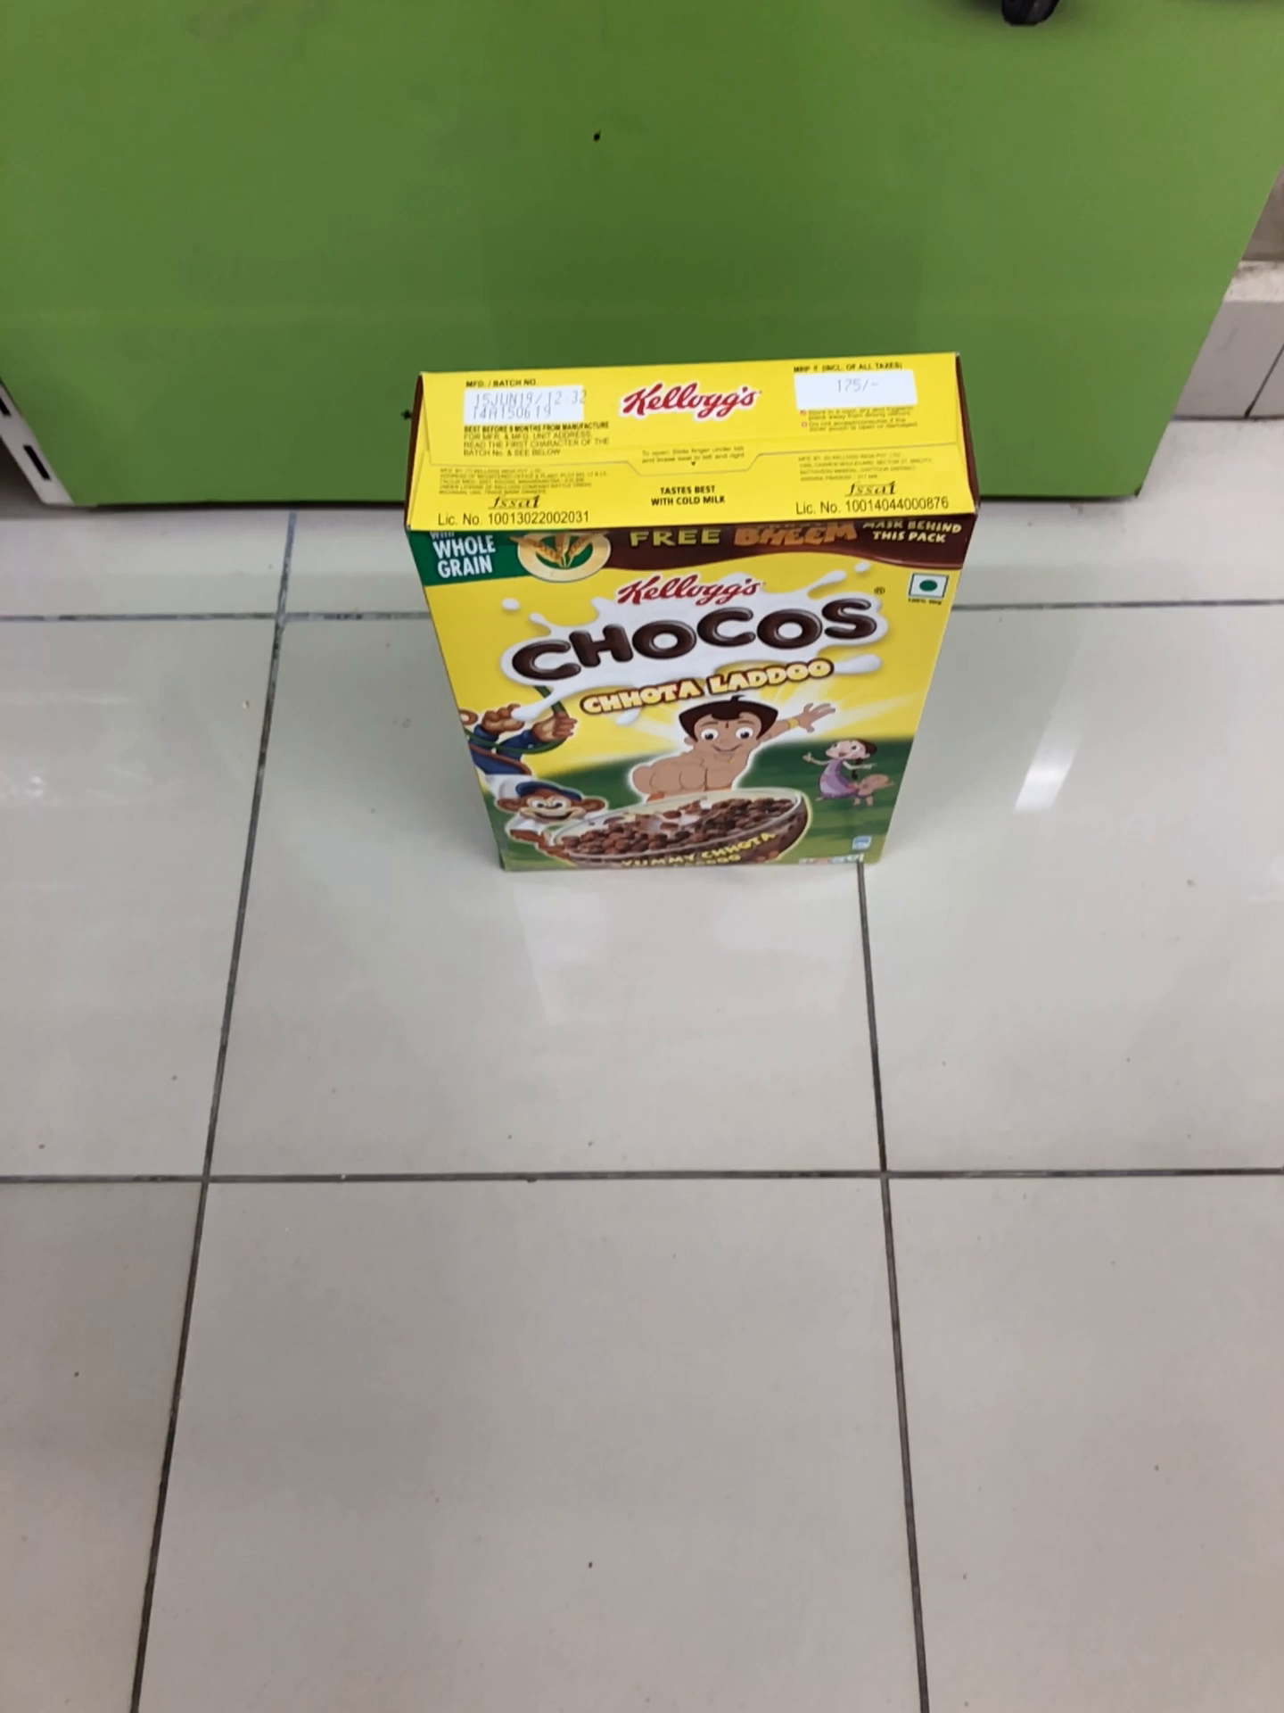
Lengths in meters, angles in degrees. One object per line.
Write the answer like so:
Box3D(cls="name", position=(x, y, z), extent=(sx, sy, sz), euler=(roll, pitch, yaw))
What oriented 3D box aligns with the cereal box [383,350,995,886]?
Box3D(cls="cereal box", position=(0.016, -0.077, 0.572), extent=(0.190, 0.259, 0.070), euler=(-2, 64, 0))
